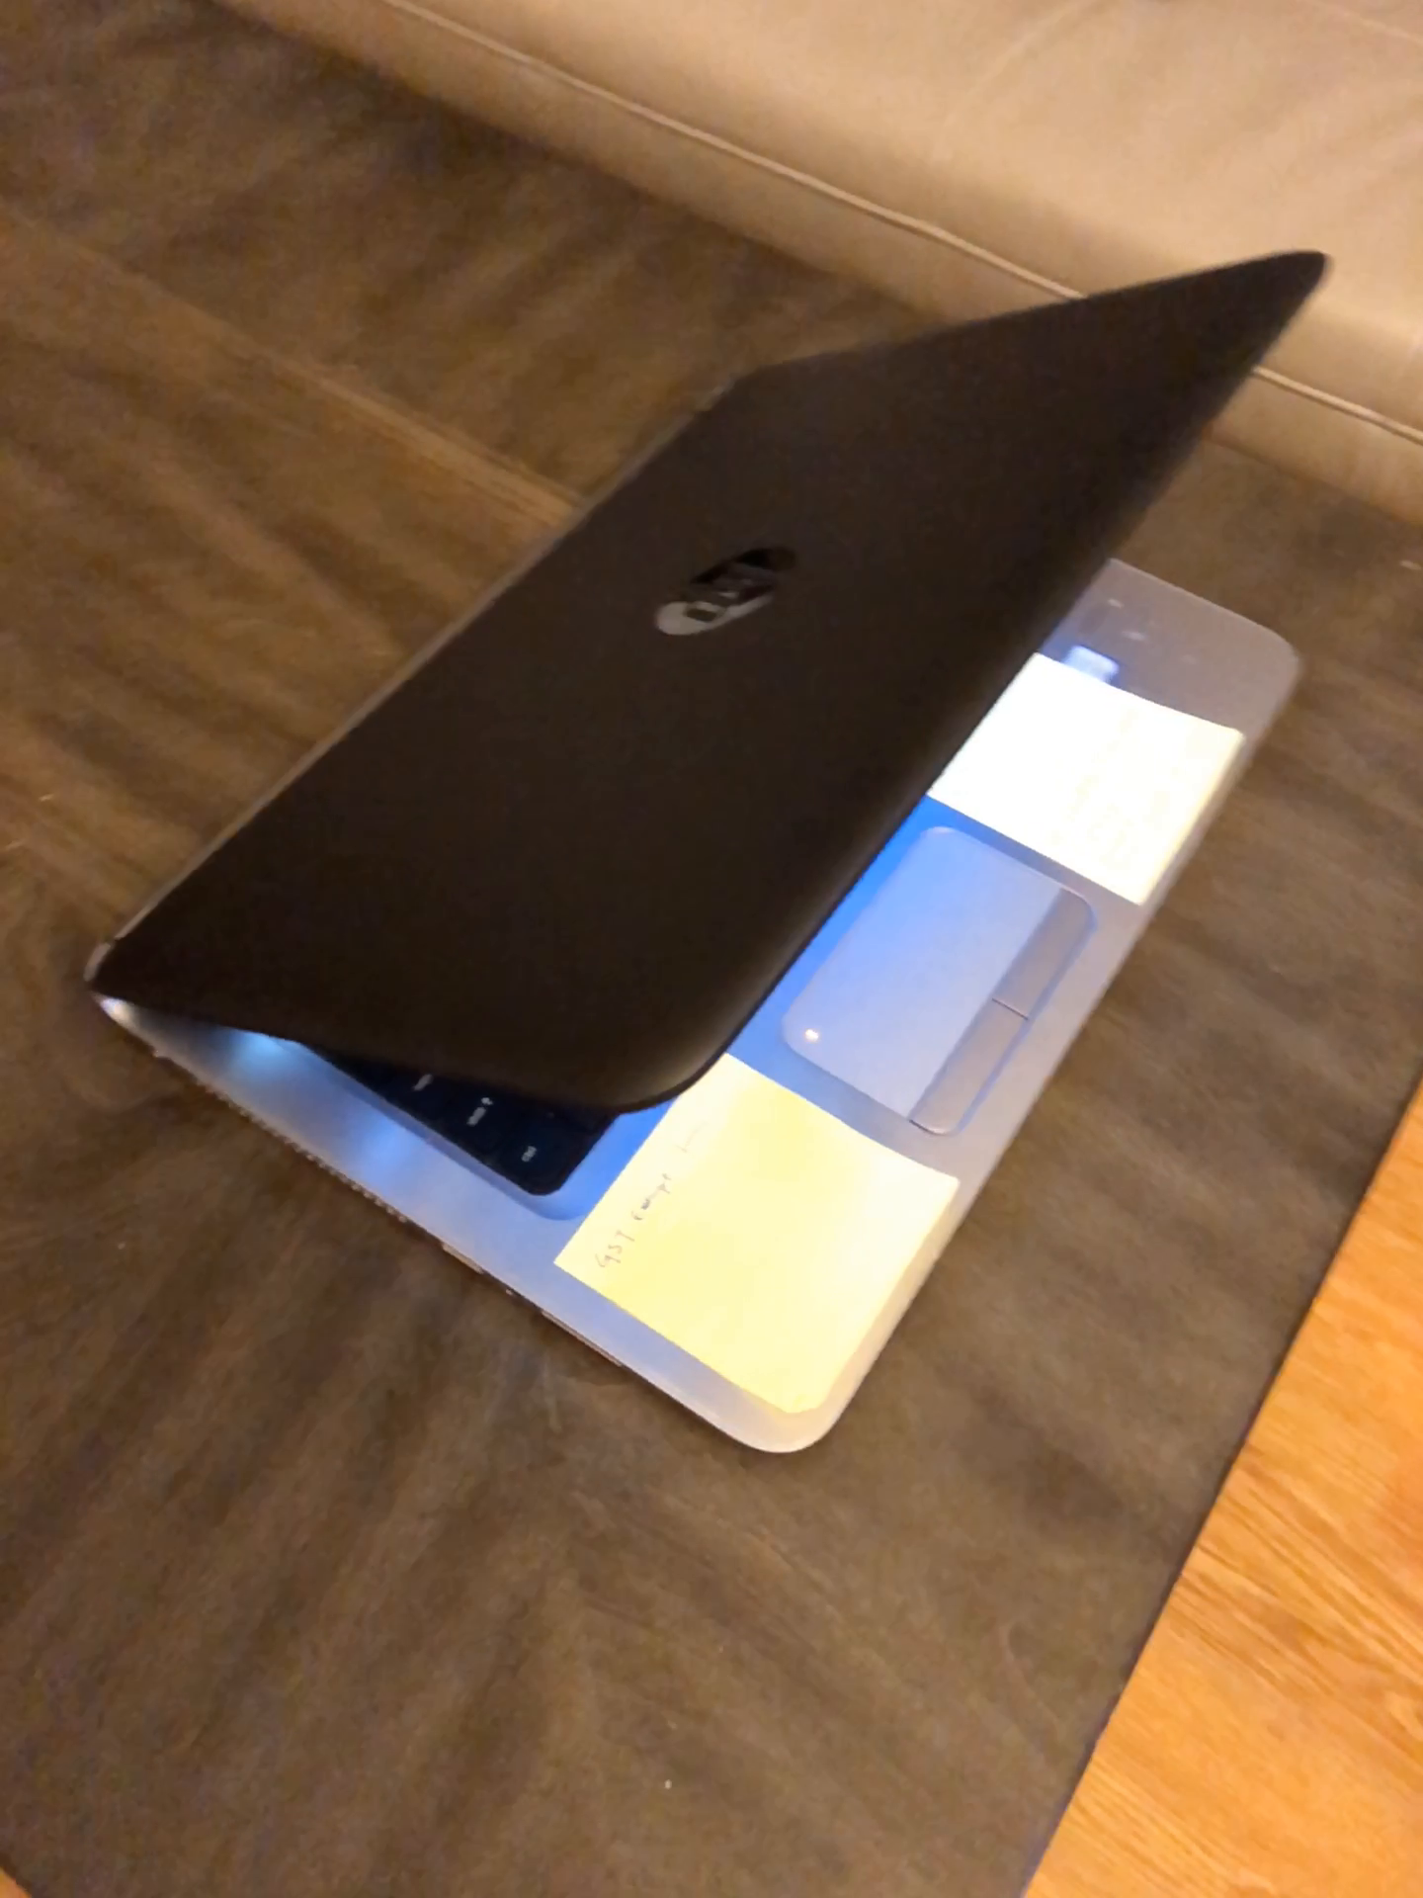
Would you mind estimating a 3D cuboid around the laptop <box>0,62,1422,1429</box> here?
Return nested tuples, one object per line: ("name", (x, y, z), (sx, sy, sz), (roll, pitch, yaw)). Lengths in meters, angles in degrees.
("laptop", (0.015, -0.085, 0.434), (0.226, 0.131, 0.324), (29, 57, 17))
